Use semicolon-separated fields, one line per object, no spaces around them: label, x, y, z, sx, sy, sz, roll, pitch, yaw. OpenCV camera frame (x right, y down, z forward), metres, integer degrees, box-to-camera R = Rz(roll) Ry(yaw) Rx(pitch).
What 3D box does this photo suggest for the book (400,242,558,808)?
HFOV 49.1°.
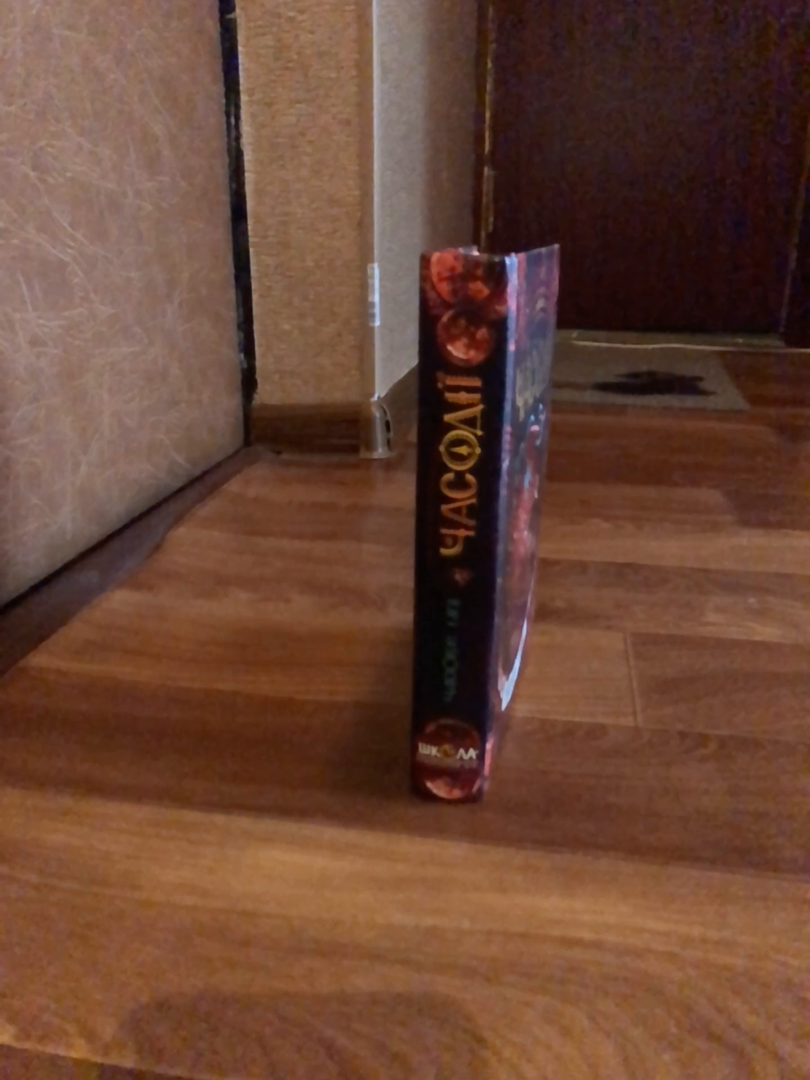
book;0.038;-0.023;0.415;0.040;0.220;0.171;5;19;13
